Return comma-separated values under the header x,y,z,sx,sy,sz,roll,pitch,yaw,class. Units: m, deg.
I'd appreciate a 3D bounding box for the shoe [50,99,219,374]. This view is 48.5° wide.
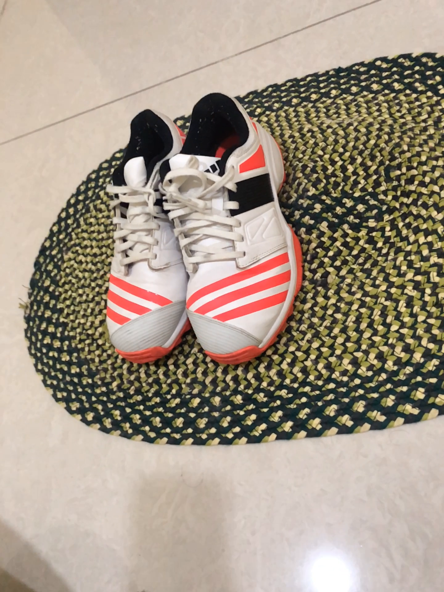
x,y,z,sx,sy,sz,roll,pitch,yaw,class
-0.081,-0.062,0.520,0.100,0.090,0.270,-5,64,24,shoe

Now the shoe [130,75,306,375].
x,y,z,sx,sy,sz,roll,pitch,yaw,class
0.008,-0.062,0.461,0.110,0.100,0.250,-5,64,24,shoe
